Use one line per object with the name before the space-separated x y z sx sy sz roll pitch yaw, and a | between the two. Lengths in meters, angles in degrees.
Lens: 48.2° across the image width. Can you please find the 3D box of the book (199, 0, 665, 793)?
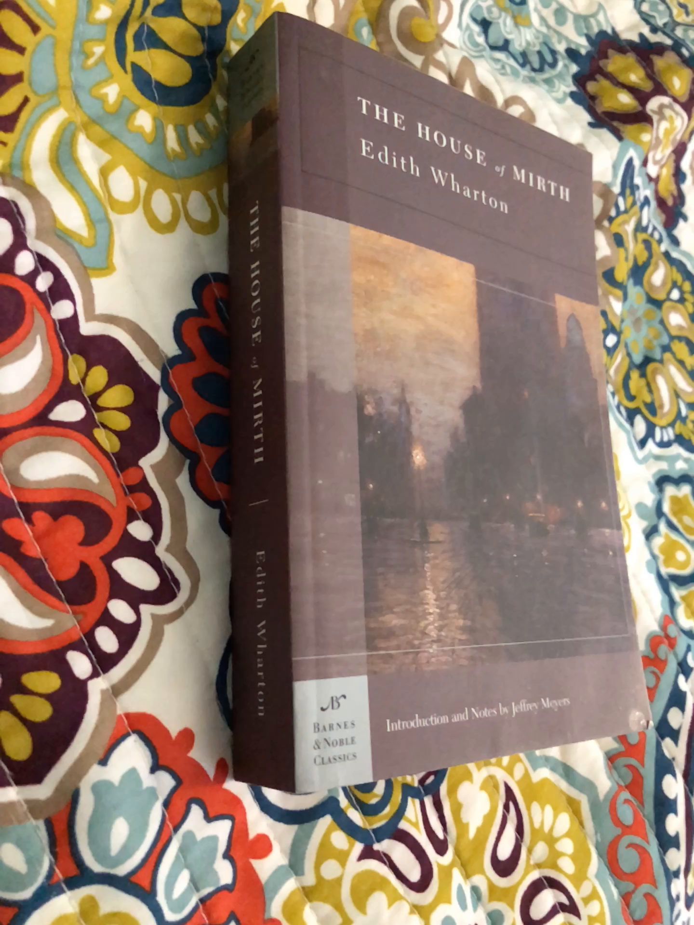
book | 0.031 -0.016 0.240 0.142 0.040 0.195 4 81 -32
